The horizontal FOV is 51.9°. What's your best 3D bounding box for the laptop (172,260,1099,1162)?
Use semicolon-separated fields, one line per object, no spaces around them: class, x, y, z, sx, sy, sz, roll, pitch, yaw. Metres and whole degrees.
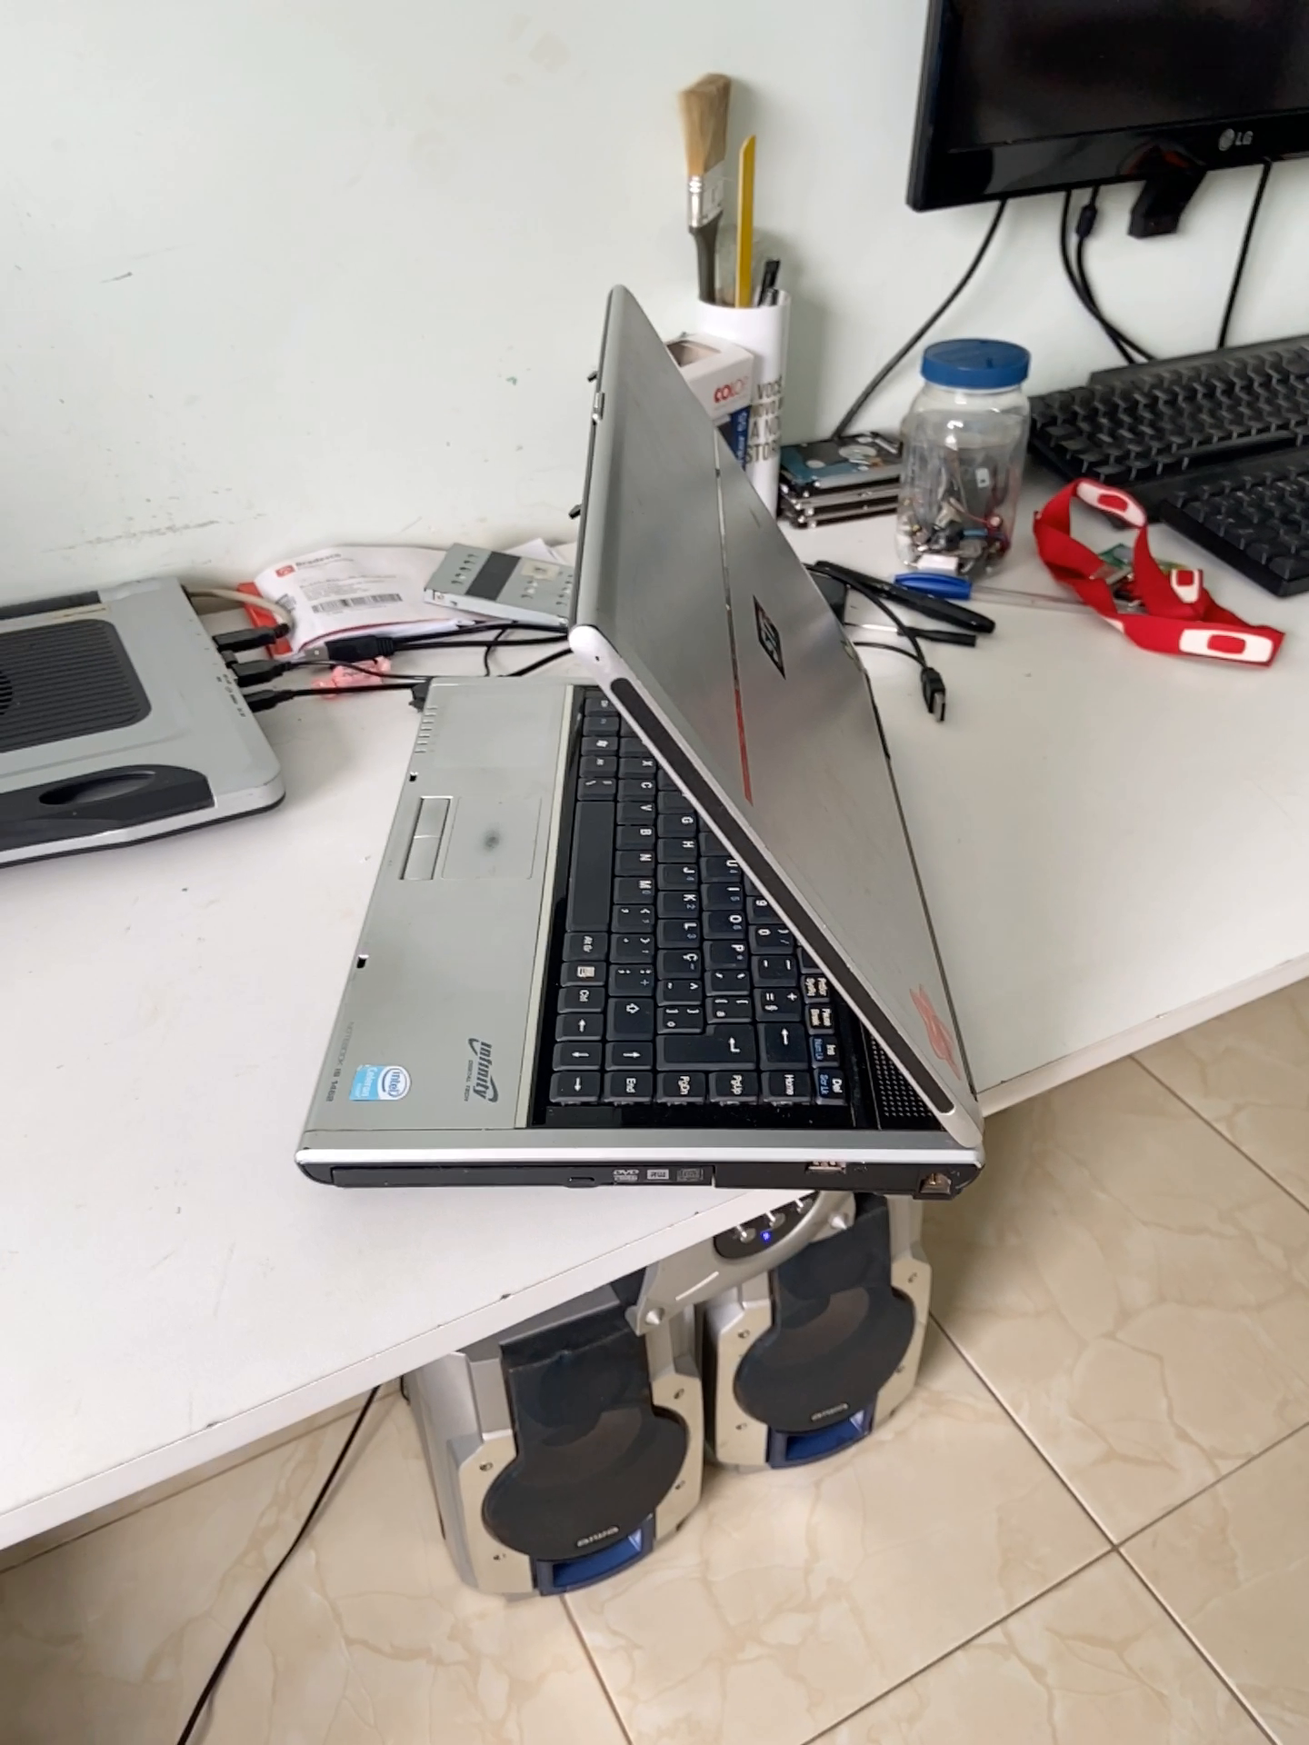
laptop;-0.004;-0.088;0.540;0.235;0.210;0.339;0;37;-1
